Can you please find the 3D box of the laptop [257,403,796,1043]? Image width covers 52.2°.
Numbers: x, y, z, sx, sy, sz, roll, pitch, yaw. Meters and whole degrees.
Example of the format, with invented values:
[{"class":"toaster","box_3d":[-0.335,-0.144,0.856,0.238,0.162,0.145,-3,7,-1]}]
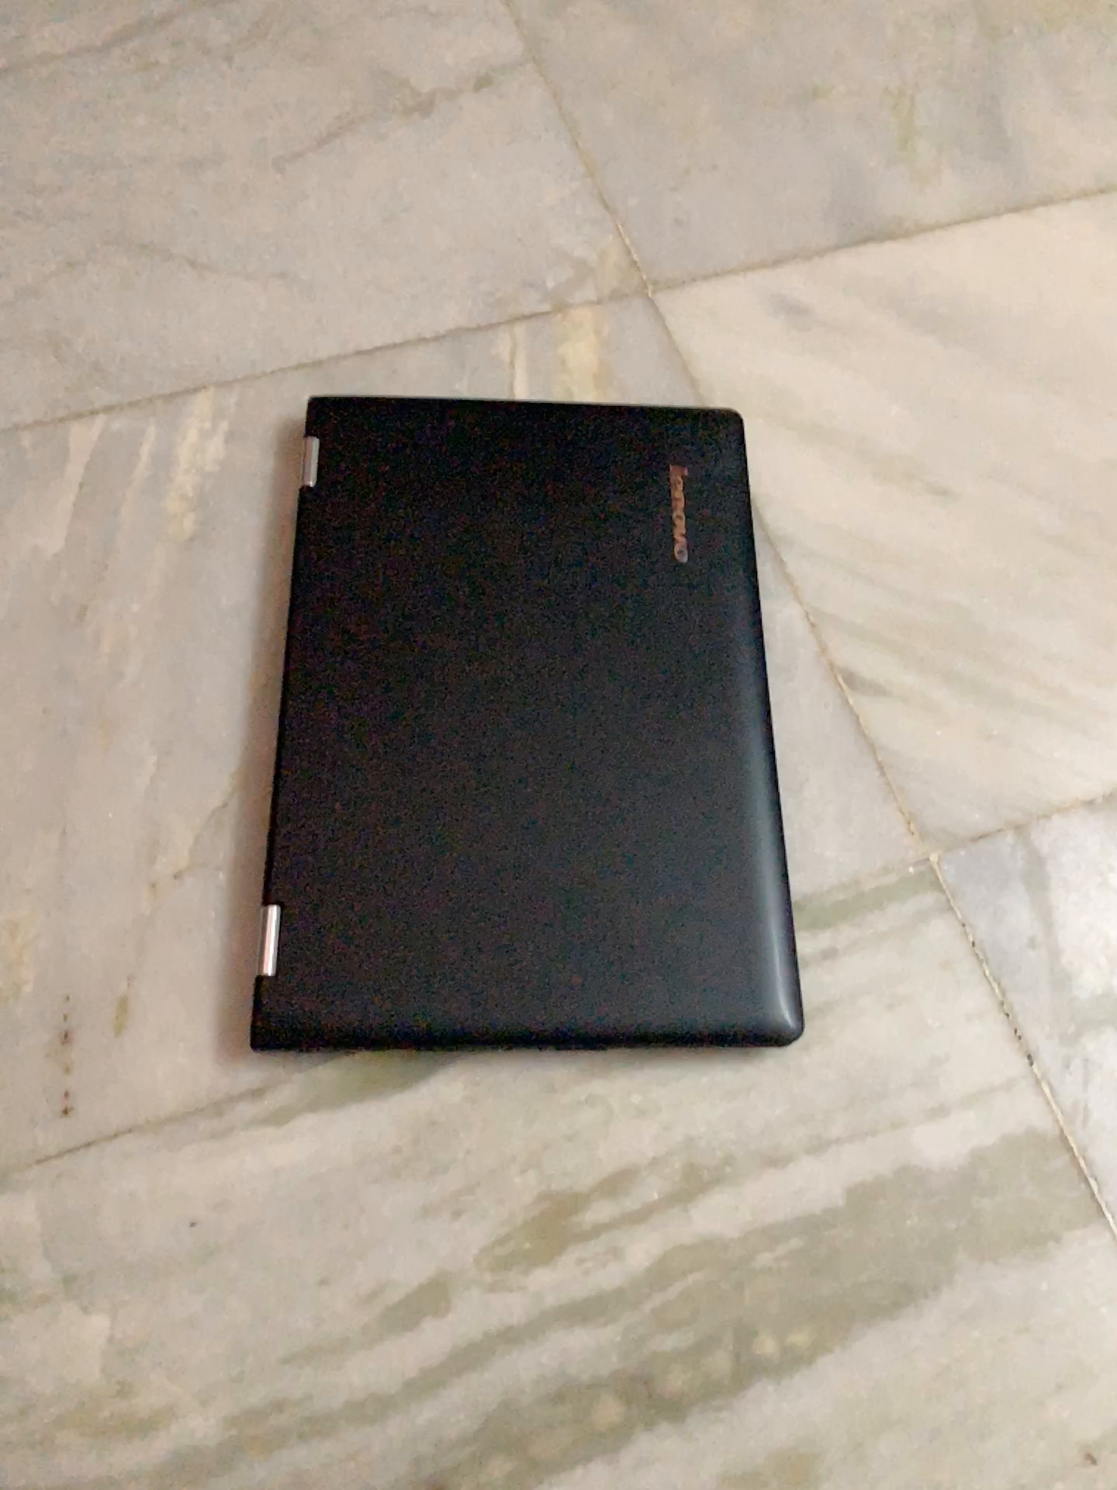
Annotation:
[{"class":"laptop","box_3d":[-0.013,-0.027,0.537,0.223,0.001,0.325,1,66,-4]}]
